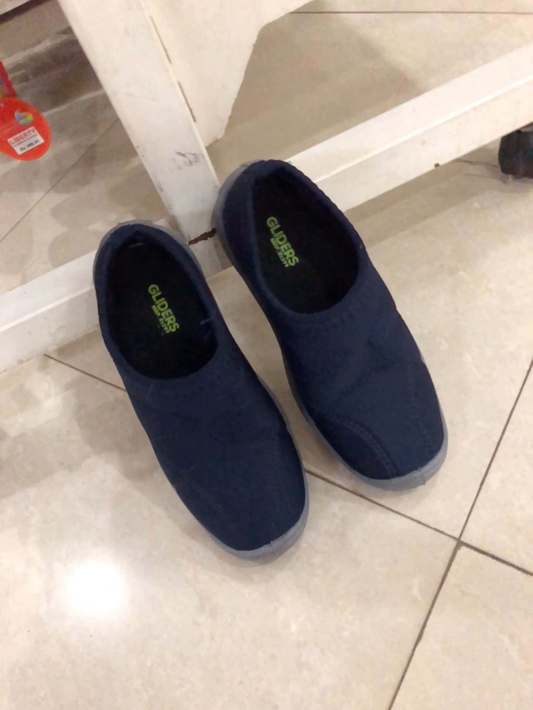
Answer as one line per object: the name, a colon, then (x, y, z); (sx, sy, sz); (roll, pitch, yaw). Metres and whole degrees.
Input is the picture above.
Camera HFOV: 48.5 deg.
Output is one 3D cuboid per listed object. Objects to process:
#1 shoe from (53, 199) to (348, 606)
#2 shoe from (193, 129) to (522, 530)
shoe: (-0.088, 0.059, 0.797); (0.160, 0.200, 0.461); (-27, 81, -7)
shoe: (0.107, -0.031, 0.845); (0.186, 0.207, 0.490); (-29, 80, -3)
